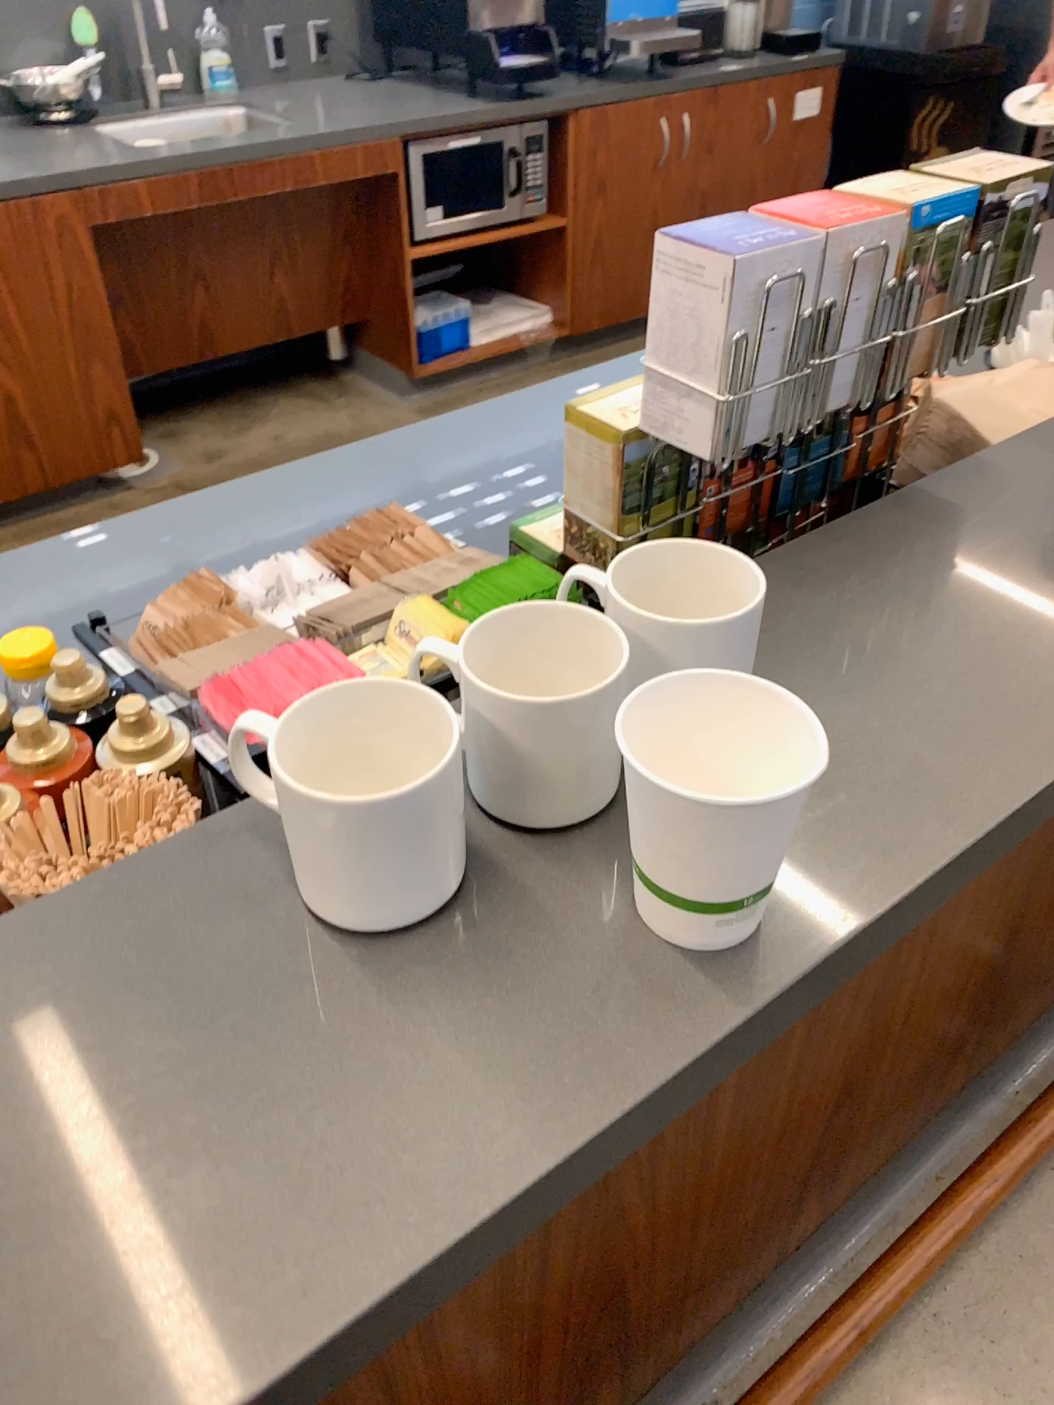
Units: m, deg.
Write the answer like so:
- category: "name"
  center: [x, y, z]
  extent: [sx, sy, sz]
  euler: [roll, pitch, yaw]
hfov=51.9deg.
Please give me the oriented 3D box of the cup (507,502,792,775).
- category: "cup"
  center: [0.070, -0.041, 0.625]
  extent: [0.130, 0.089, 0.100]
  euler: [16, 41, 20]

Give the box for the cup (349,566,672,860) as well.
- category: "cup"
  center: [-0.006, 0.001, 0.560]
  extent: [0.130, 0.080, 0.100]
  euler: [15, 41, 18]

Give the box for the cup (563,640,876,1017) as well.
- category: "cup"
  center: [0.080, 0.054, 0.483]
  extent: [0.090, 0.109, 0.090]
  euler: [0, 38, 0]

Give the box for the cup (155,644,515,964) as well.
- category: "cup"
  center: [-0.083, 0.043, 0.506]
  extent: [0.130, 0.080, 0.090]
  euler: [14, 41, 18]
